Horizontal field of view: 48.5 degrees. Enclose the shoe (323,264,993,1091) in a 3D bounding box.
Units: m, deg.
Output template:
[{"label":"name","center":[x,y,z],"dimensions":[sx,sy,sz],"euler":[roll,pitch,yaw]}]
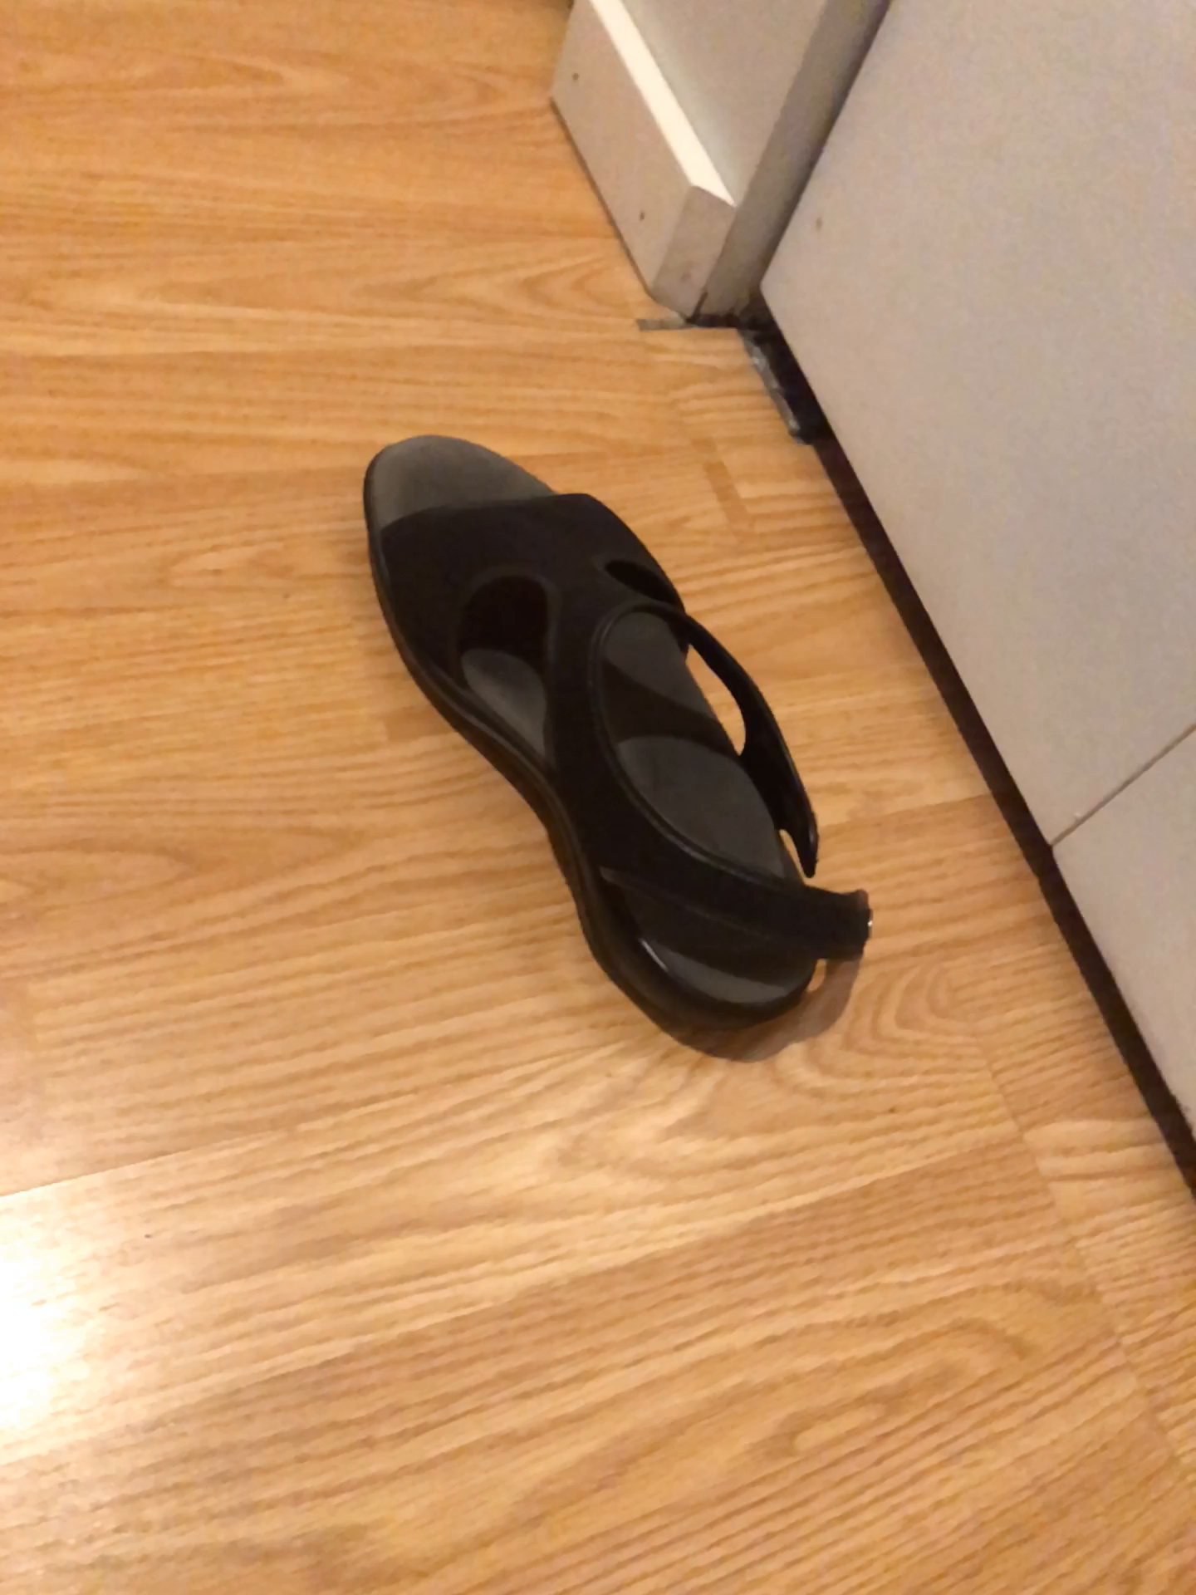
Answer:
[{"label":"shoe","center":[0.004,-0.048,0.447],"dimensions":[0.100,0.100,0.250],"euler":[-17,67,-26]}]
